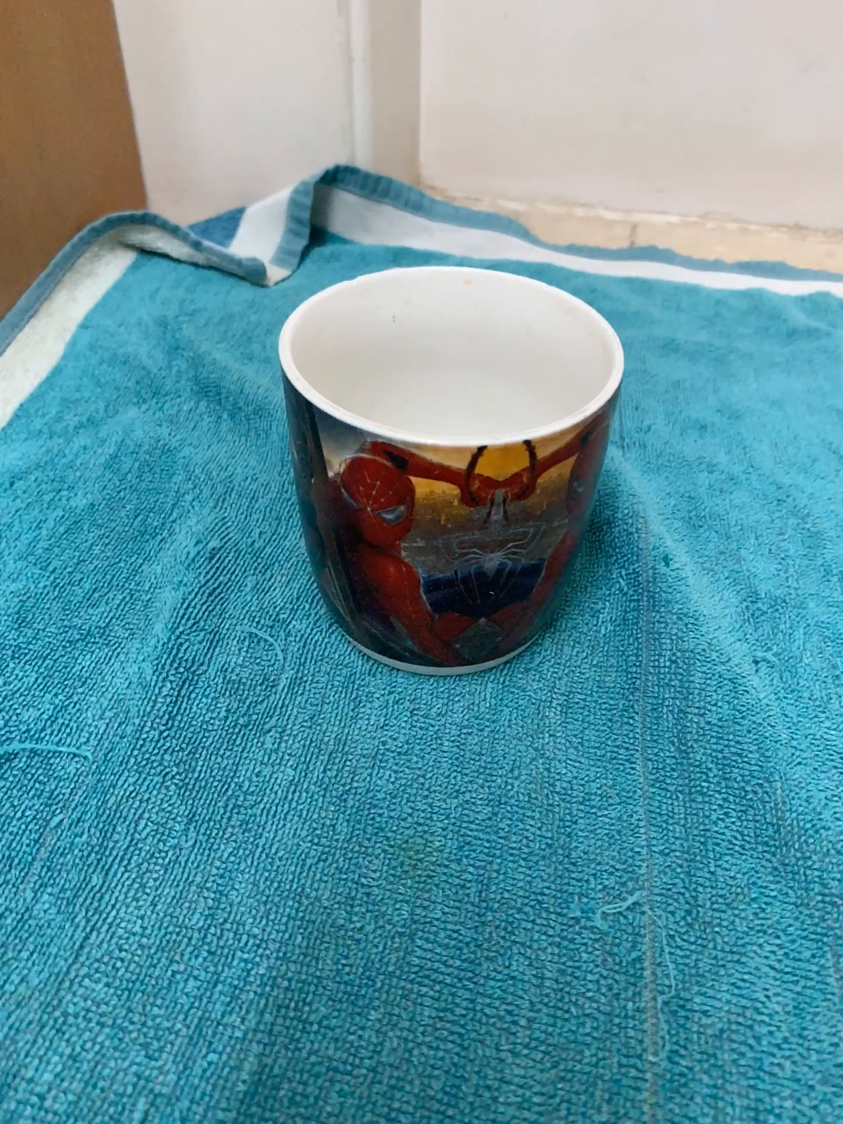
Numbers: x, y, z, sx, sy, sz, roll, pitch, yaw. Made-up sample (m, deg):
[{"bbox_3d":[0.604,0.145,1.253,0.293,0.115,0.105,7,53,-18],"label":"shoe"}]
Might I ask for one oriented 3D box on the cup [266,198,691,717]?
[{"bbox_3d":[0.005,-0.037,0.256,0.080,0.089,0.121,-8,43,-10],"label":"cup"}]
